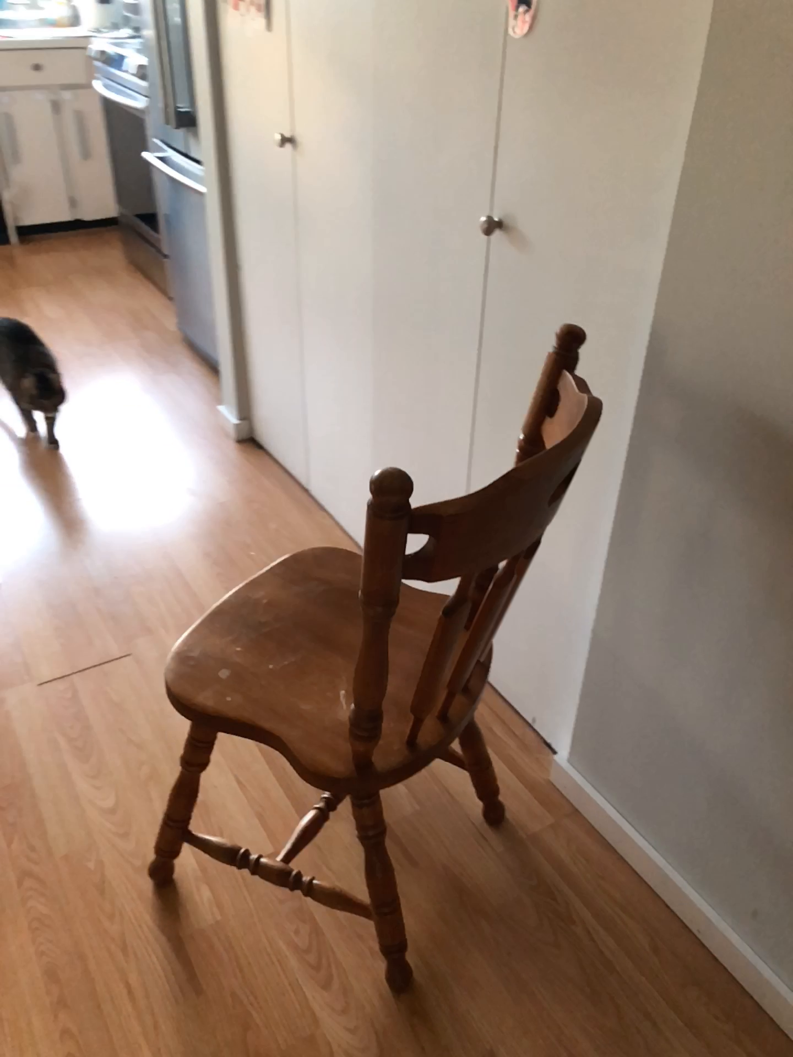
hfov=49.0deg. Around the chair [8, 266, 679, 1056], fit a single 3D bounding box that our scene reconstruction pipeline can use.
[{"bbox_3d":[-0.041,0.148,1.262,0.591,0.817,0.561,19,37,24],"label":"chair"}]
